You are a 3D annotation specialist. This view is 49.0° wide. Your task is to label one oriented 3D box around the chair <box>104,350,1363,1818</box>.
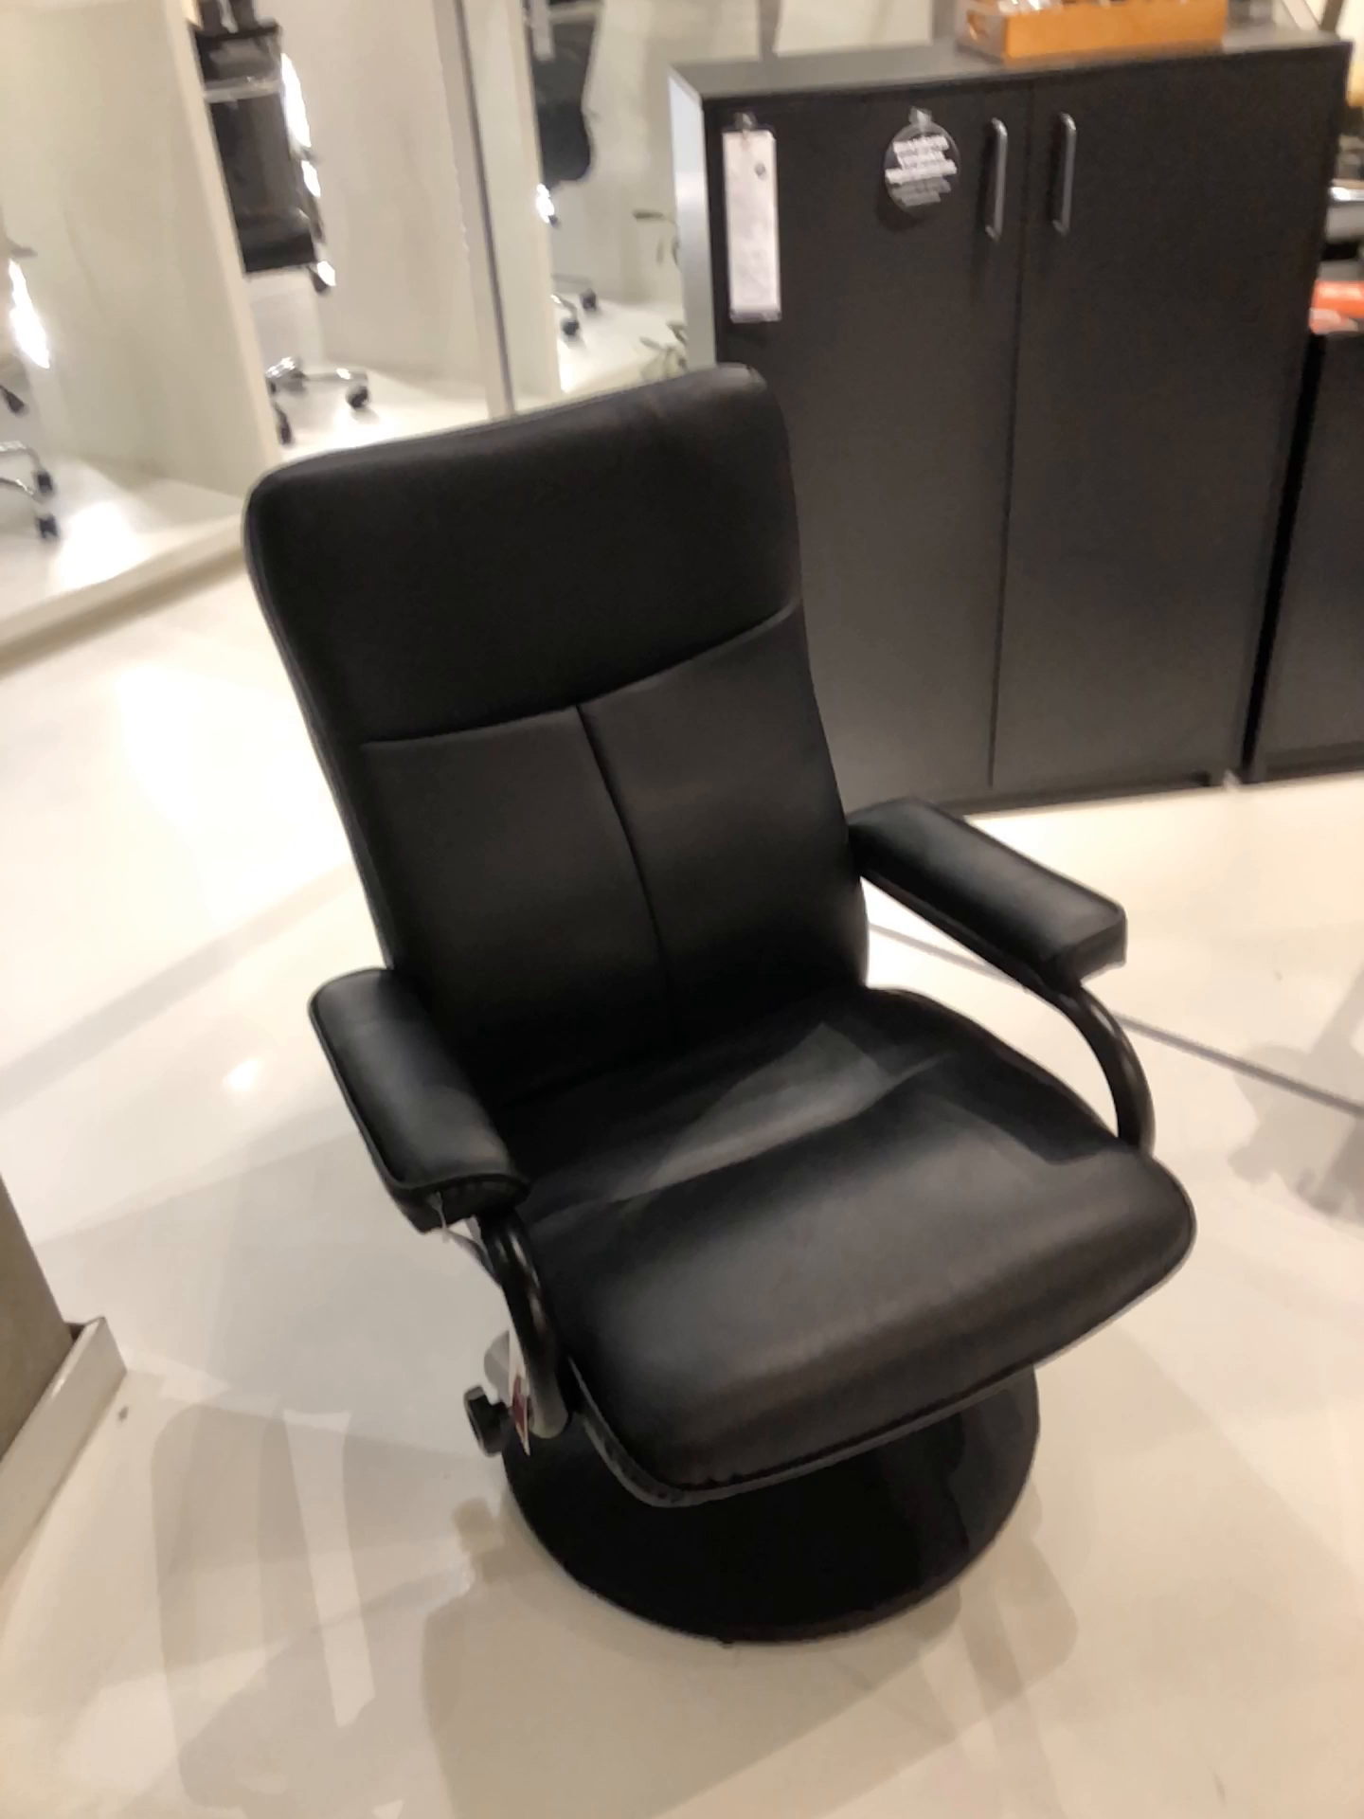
[{"bbox_3d":[0.015,0.133,1.375,0.691,0.993,0.735,-18,36,-20],"label":"chair"}]
